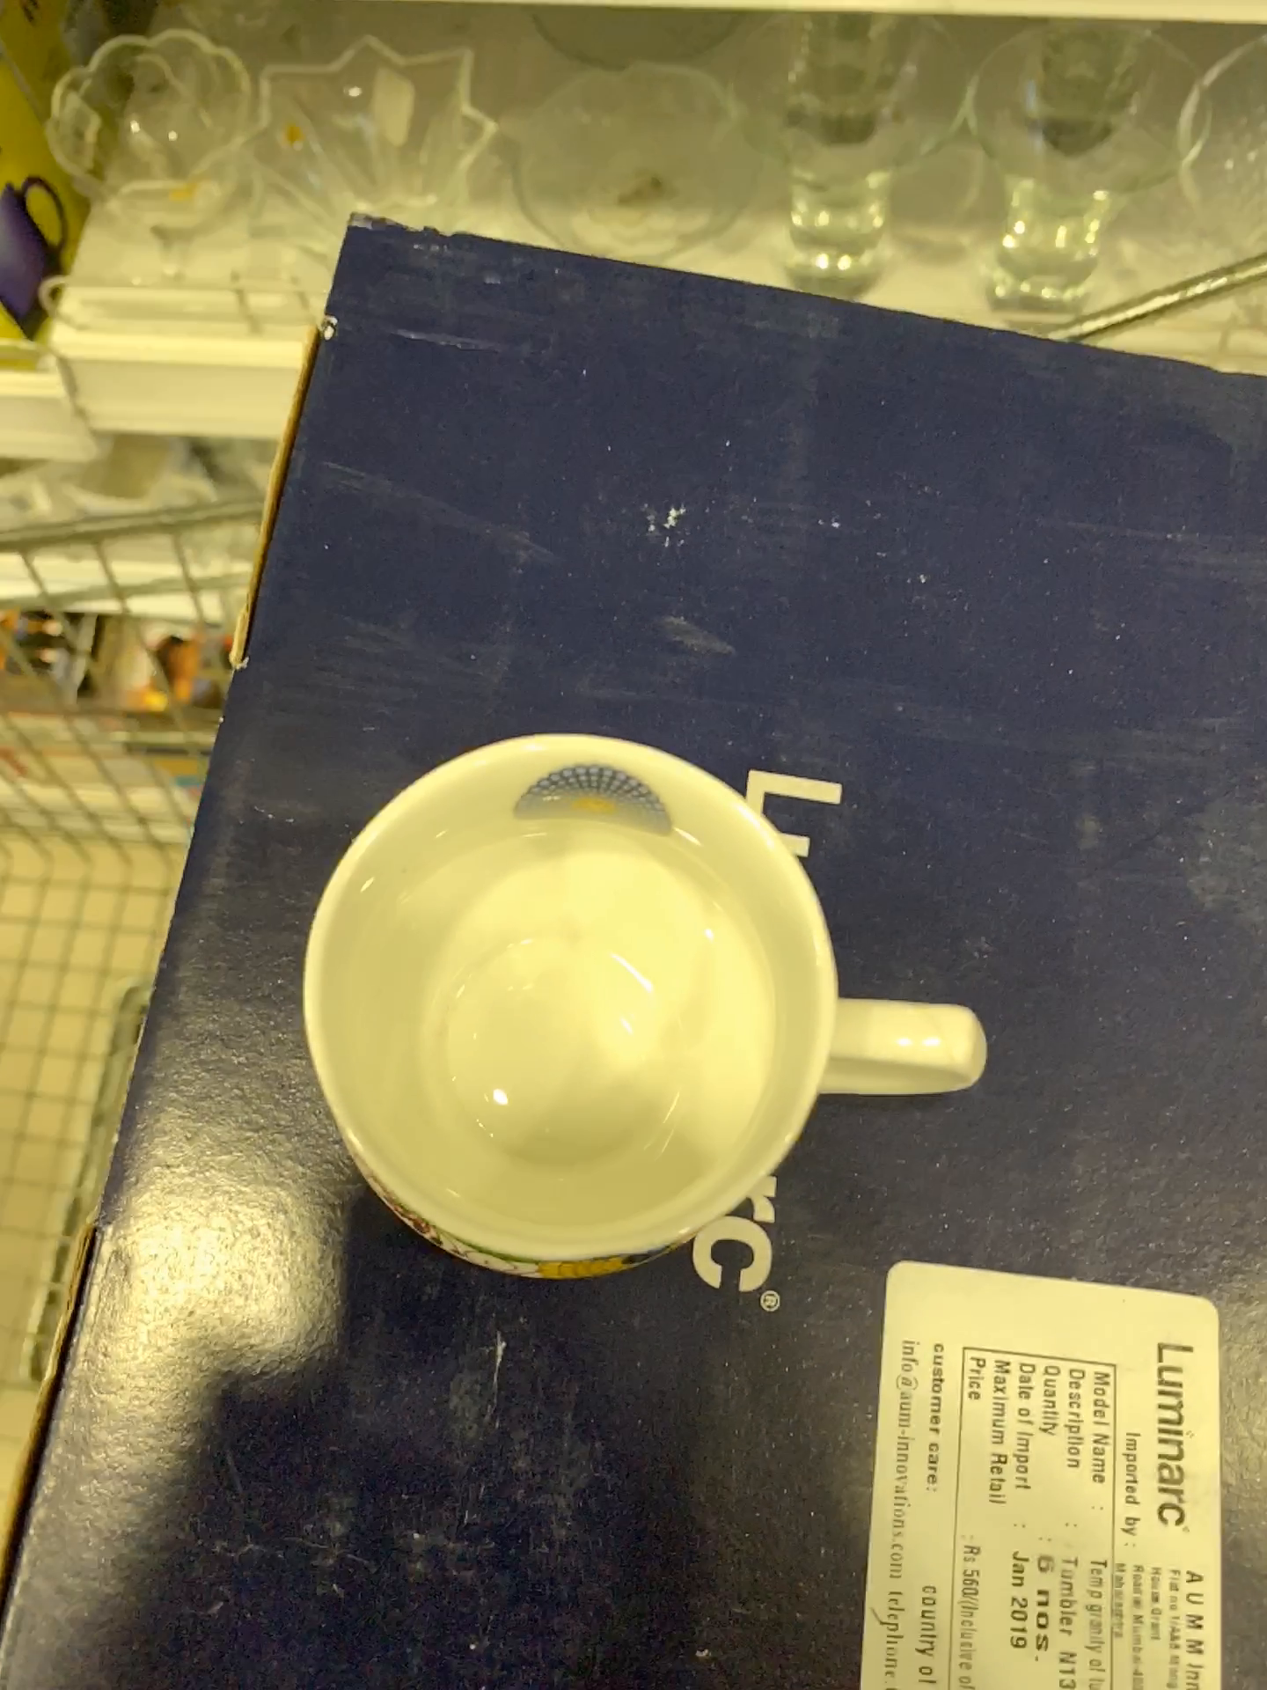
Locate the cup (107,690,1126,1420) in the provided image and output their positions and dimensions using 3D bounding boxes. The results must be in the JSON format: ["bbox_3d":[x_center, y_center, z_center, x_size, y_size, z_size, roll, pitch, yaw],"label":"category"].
[{"bbox_3d":[0.001,0.025,0.149,0.090,0.050,0.060,6,72,0],"label":"cup"}]
